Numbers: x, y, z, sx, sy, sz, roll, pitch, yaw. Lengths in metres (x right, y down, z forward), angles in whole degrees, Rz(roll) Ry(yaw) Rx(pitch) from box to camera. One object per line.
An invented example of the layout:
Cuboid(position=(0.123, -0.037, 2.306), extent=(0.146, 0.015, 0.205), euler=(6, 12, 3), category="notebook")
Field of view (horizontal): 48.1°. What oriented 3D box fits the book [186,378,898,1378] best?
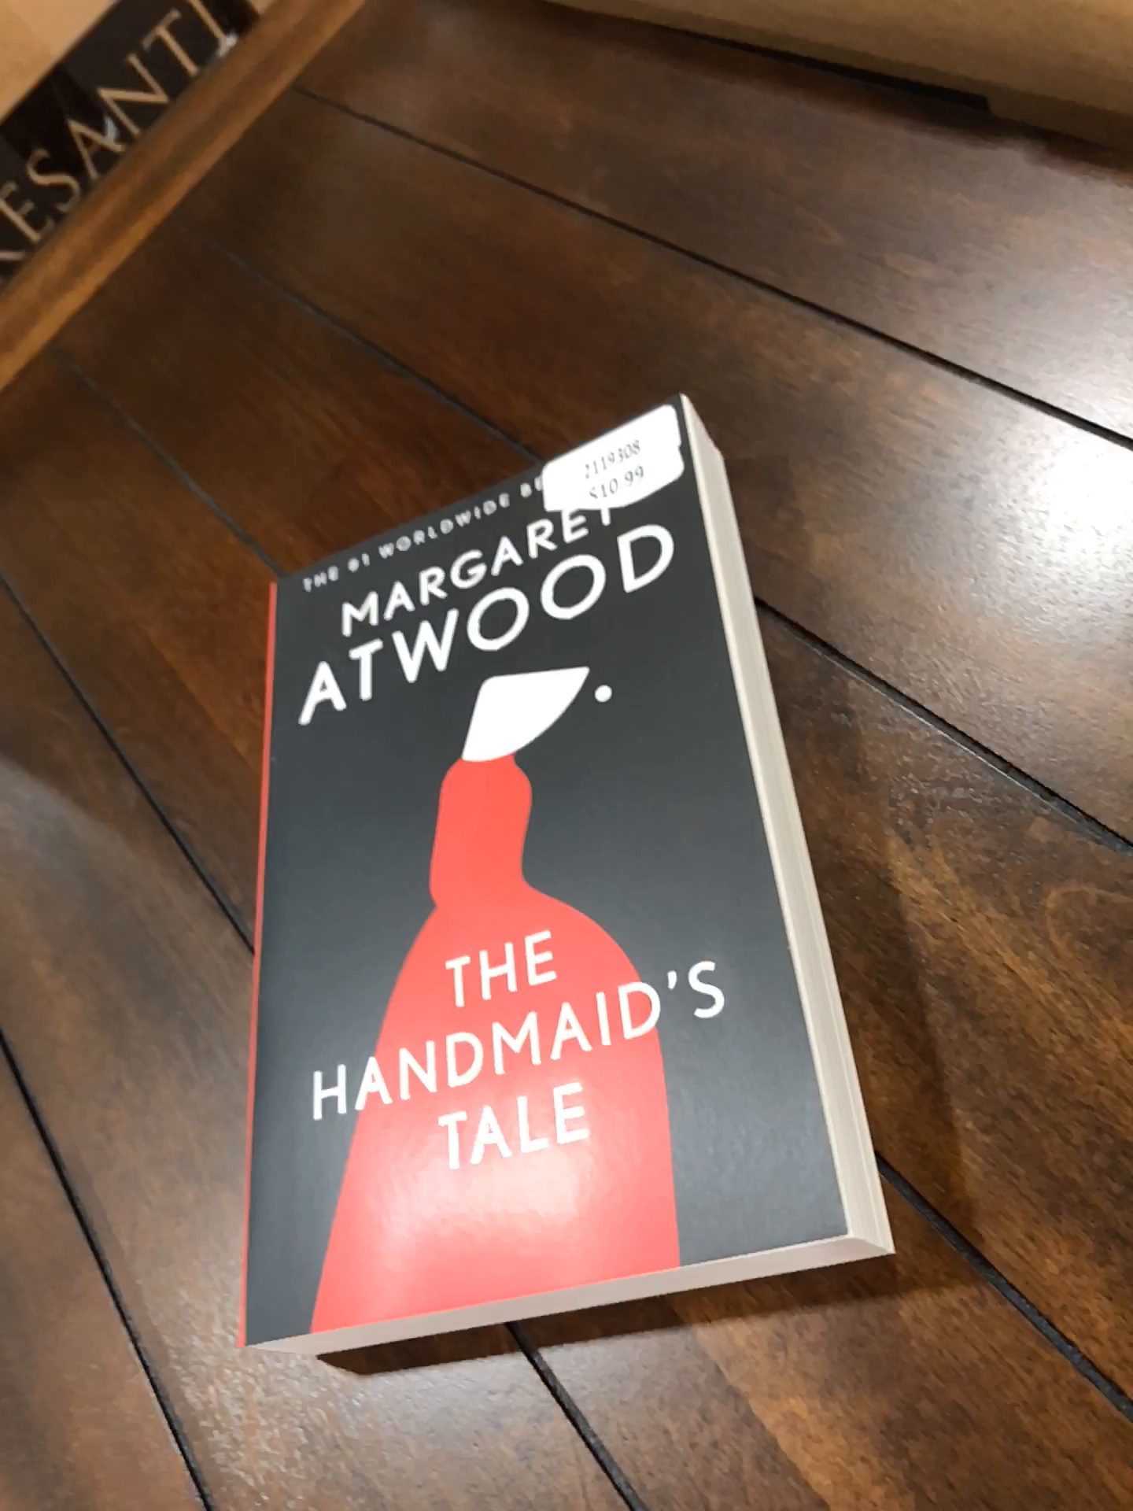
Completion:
Cuboid(position=(-0.017, 0.021, 0.297), extent=(0.138, 0.030, 0.207), euler=(-19, 55, 20), category="book")
